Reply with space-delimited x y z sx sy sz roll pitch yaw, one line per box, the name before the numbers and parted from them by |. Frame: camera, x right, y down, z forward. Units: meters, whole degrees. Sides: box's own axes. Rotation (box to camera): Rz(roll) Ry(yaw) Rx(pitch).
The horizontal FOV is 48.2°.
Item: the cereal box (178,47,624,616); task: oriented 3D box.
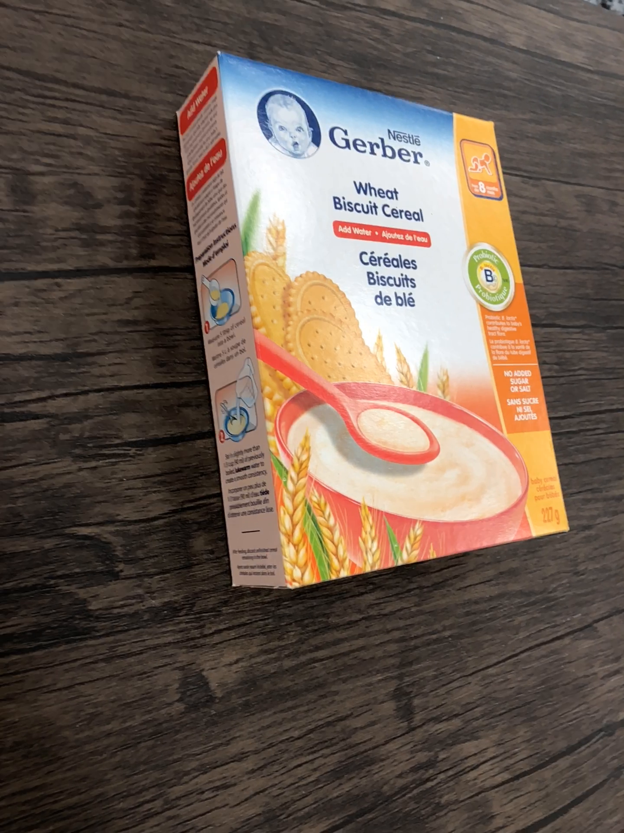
cereal box | 0.040 -0.031 0.274 0.161 0.040 0.180 -3 81 -33
